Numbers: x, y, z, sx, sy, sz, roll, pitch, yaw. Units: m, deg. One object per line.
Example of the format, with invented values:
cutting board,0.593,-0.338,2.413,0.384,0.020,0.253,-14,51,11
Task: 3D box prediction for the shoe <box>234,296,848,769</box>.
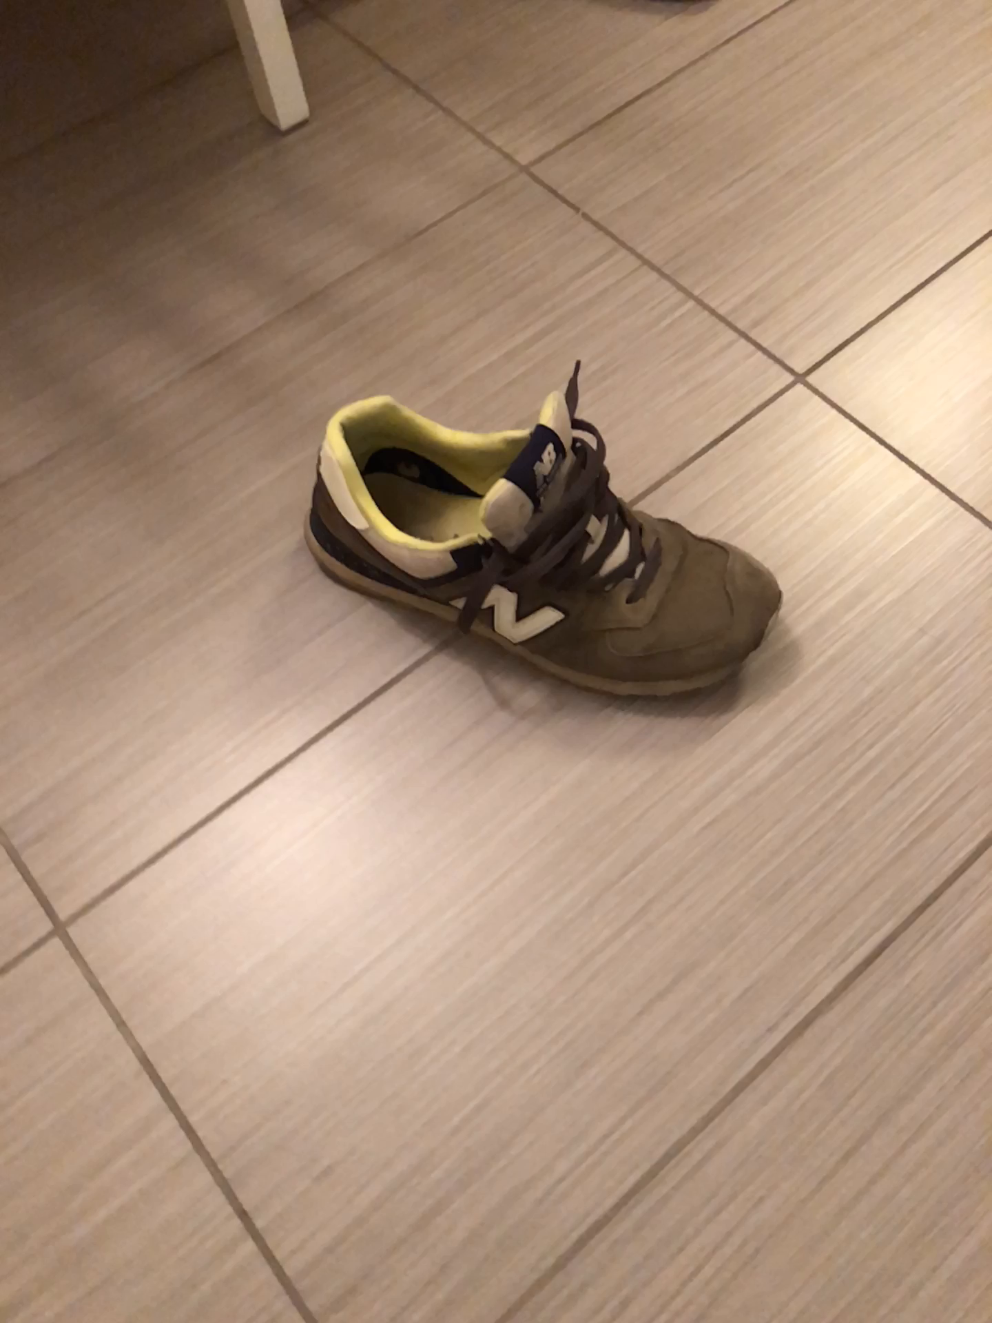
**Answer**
shoe,0.022,-0.080,0.643,0.310,0.110,0.130,26,67,16
